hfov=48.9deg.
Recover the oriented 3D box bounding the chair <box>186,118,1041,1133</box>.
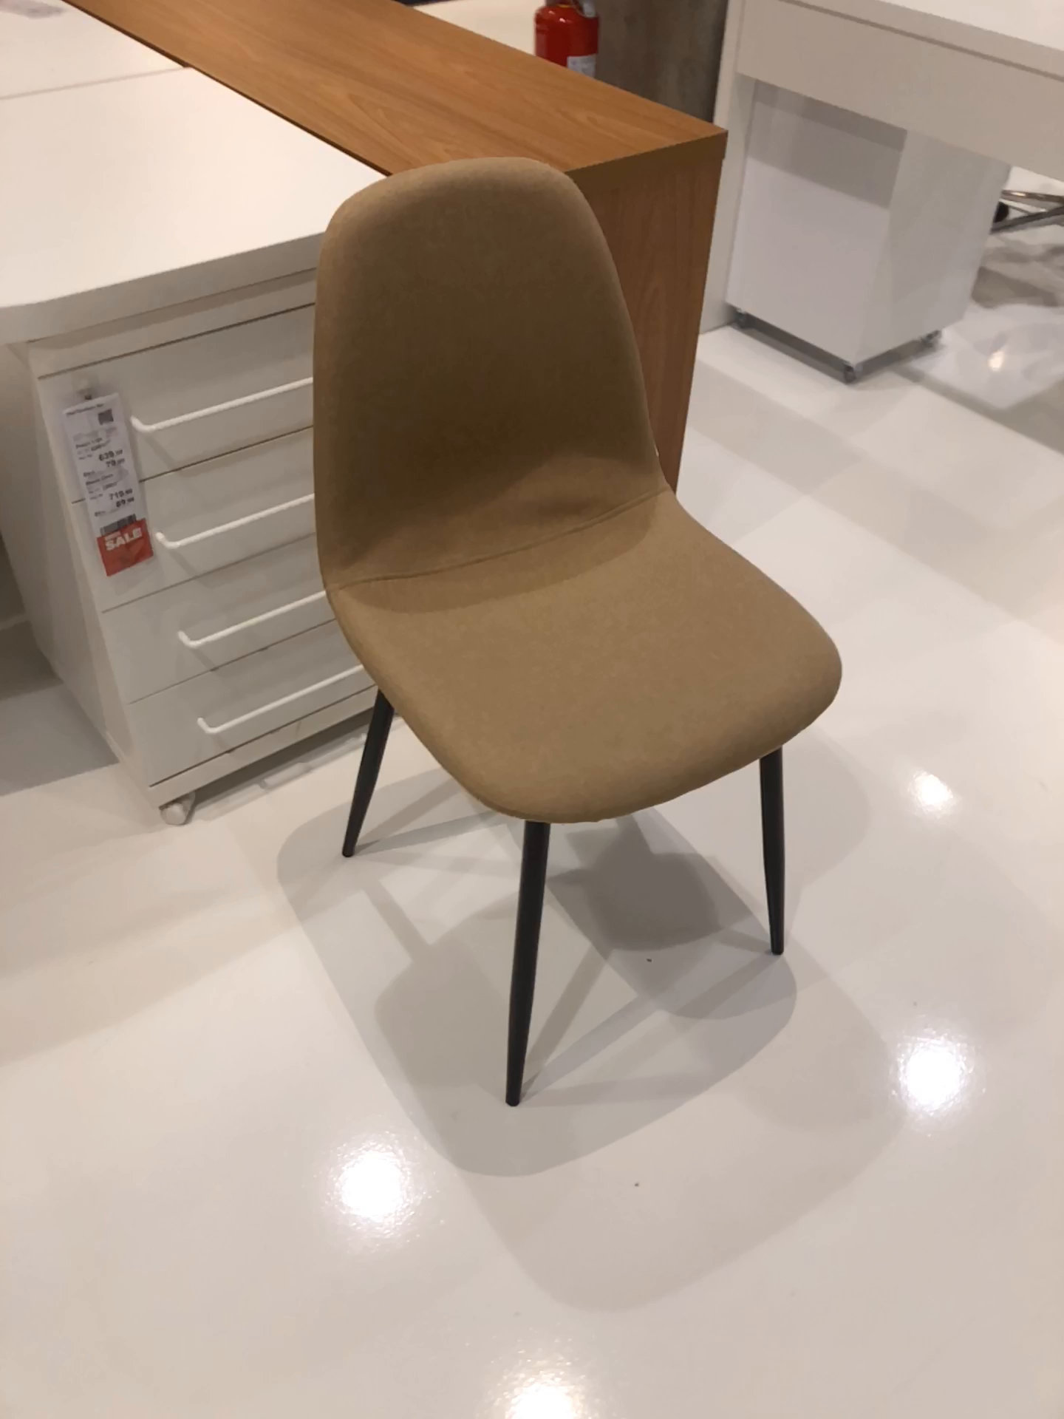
[{"bbox_3d":[0.033,-0.086,1.211,0.481,0.784,0.523,-22,48,-24],"label":"chair"}]
